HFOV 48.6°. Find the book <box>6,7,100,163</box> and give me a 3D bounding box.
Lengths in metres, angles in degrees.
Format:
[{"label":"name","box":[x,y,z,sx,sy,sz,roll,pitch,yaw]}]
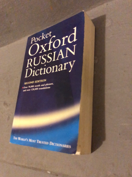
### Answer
[{"label":"book","box":[-0.021,-0.008,0.227,0.138,0.032,0.195,-7,70,36]}]
